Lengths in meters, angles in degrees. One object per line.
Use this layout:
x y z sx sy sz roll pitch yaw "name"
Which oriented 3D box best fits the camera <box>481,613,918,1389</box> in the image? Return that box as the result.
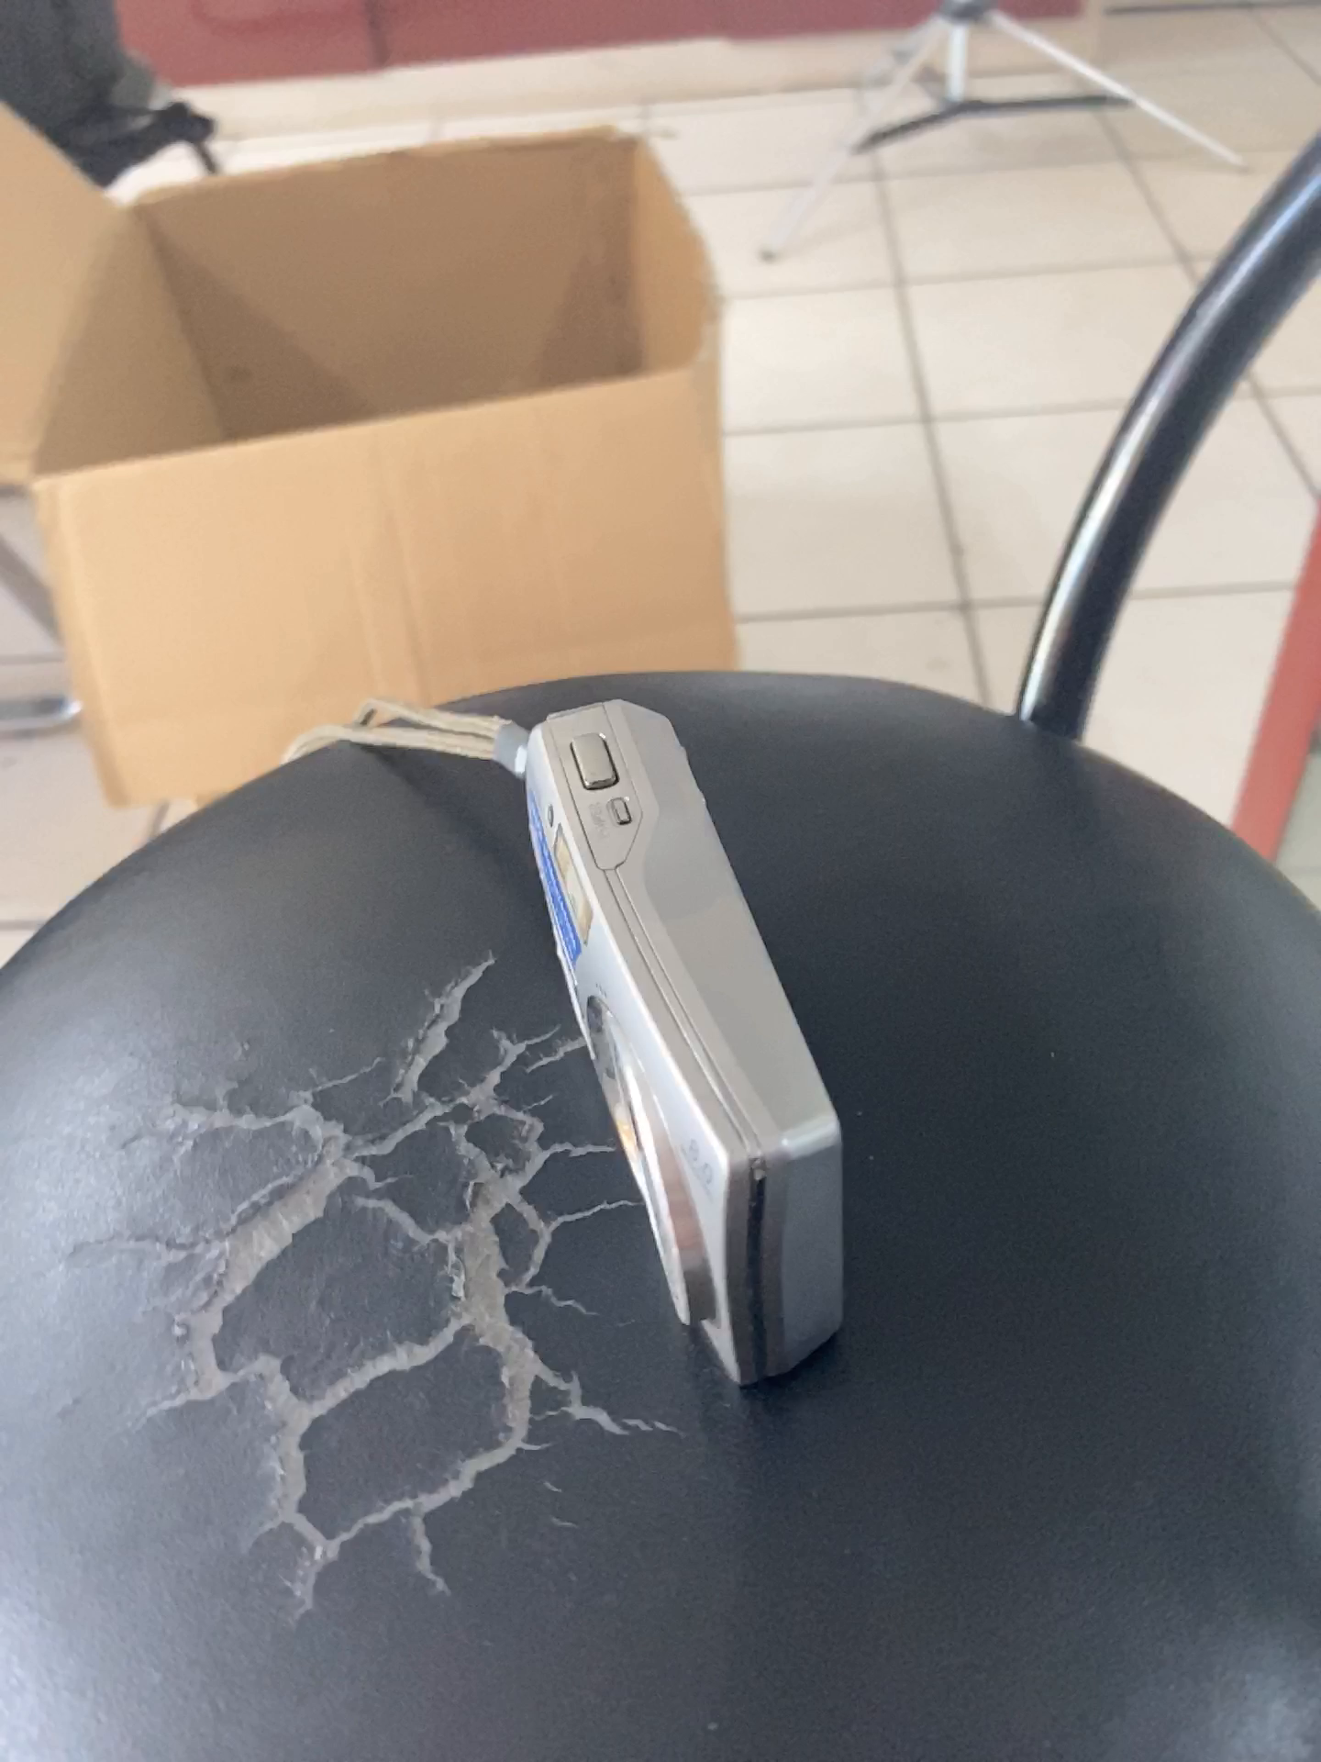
0.003 0.014 0.212 0.030 0.060 0.101 -16 46 -9 "camera"
